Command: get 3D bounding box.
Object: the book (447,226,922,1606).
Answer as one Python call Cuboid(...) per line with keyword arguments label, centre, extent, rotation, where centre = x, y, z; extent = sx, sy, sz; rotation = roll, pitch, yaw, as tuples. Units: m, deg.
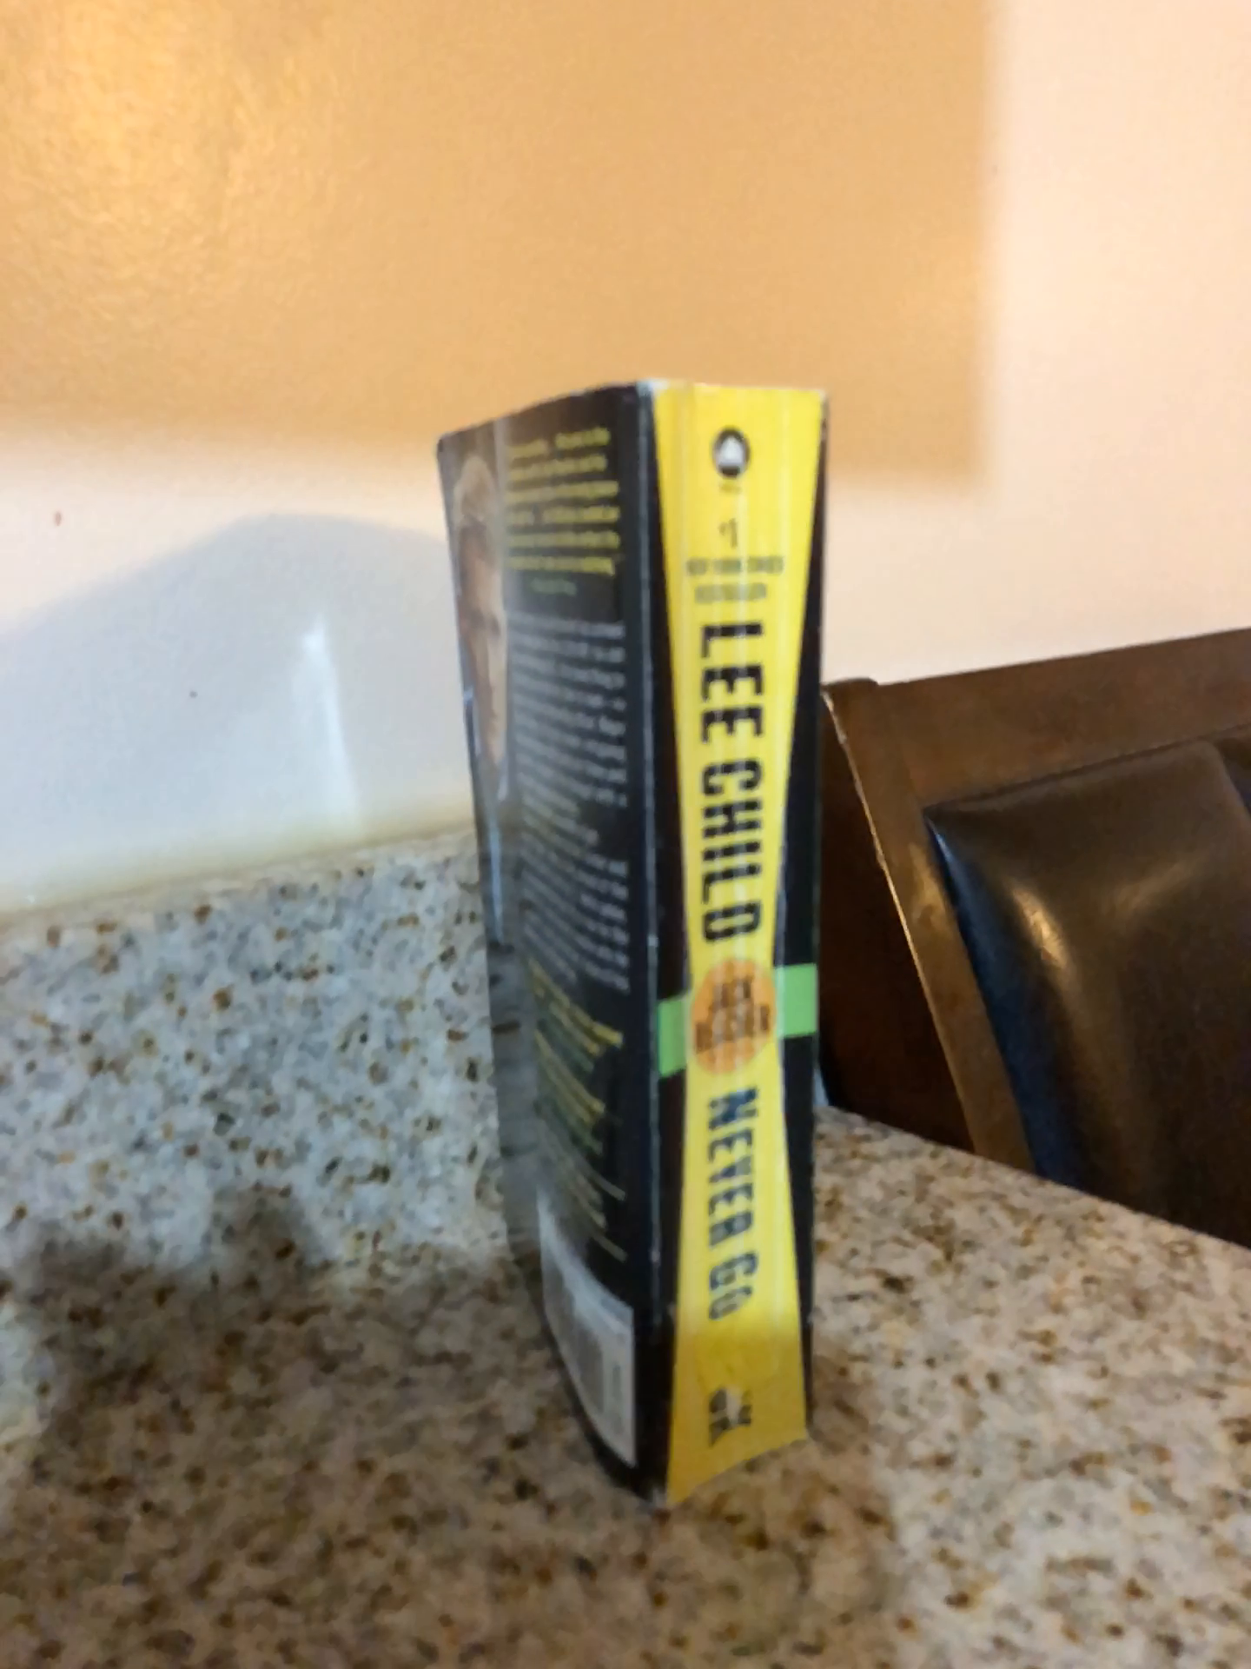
Cuboid(label="book", centre=(0.000, 0.007, 0.296), extent=(0.050, 0.219, 0.160), rotation=(-3, 10, -15))
